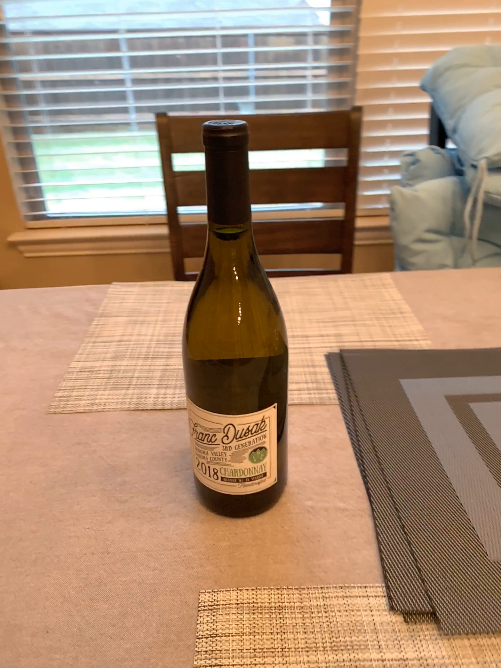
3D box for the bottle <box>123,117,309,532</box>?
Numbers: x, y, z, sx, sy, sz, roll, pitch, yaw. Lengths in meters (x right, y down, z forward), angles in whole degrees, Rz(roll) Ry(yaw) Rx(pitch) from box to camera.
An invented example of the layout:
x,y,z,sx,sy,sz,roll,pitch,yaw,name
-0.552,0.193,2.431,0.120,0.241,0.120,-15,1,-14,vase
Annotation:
x,y,z,sx,sy,sz,roll,pitch,yaw,name
-0.012,0.003,0.374,0.090,0.288,0.080,6,29,13,bottle
